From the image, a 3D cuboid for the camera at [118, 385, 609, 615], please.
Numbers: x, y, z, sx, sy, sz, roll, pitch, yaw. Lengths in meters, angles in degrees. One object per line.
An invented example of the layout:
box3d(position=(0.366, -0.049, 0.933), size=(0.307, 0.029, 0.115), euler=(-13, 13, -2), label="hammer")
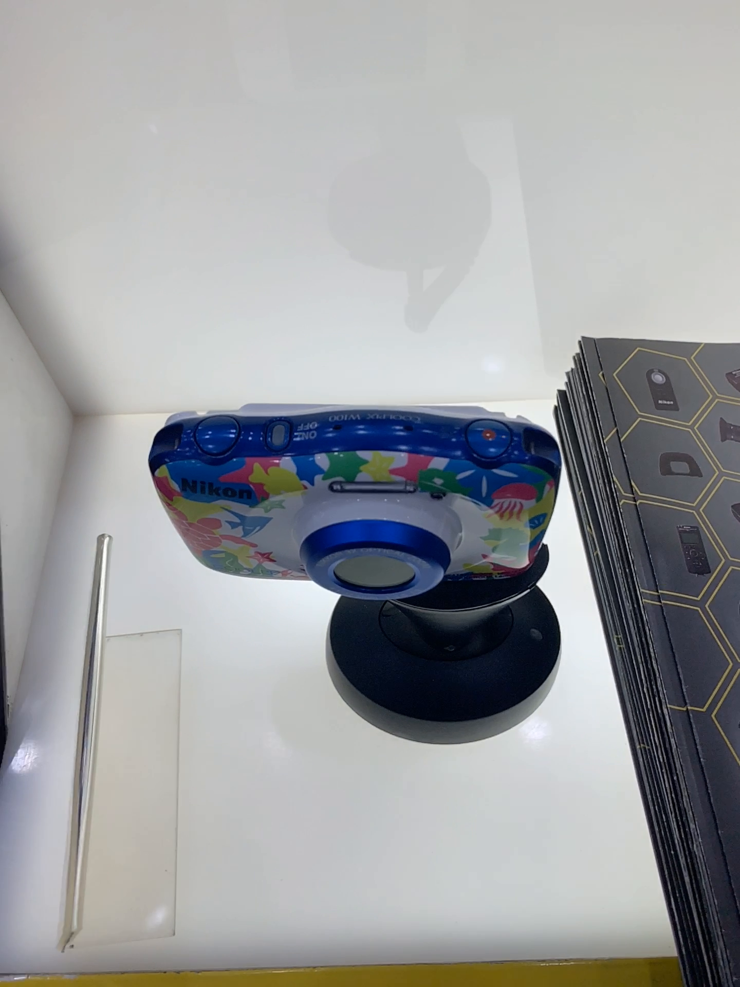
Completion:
box3d(position=(-0.001, 0.004, 0.223), size=(0.120, 0.060, 0.040), euler=(1, 58, 2), label="camera")
